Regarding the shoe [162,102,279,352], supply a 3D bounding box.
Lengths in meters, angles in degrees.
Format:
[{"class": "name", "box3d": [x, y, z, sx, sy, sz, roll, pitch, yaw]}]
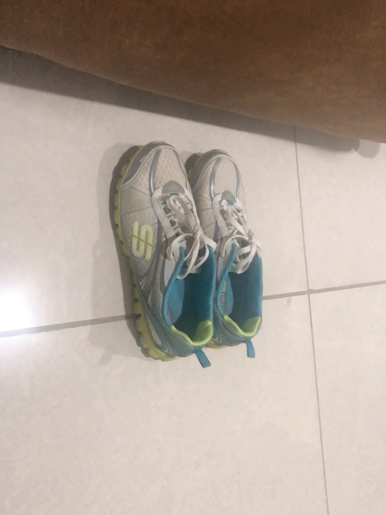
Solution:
[{"class": "shoe", "box3d": [0.035, -0.034, 0.582, 0.110, 0.100, 0.300, 1, 85, -35]}]

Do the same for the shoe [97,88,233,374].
[{"class": "shoe", "box3d": [-0.036, -0.028, 0.514, 0.100, 0.100, 0.300, -4, 88, -35]}]
